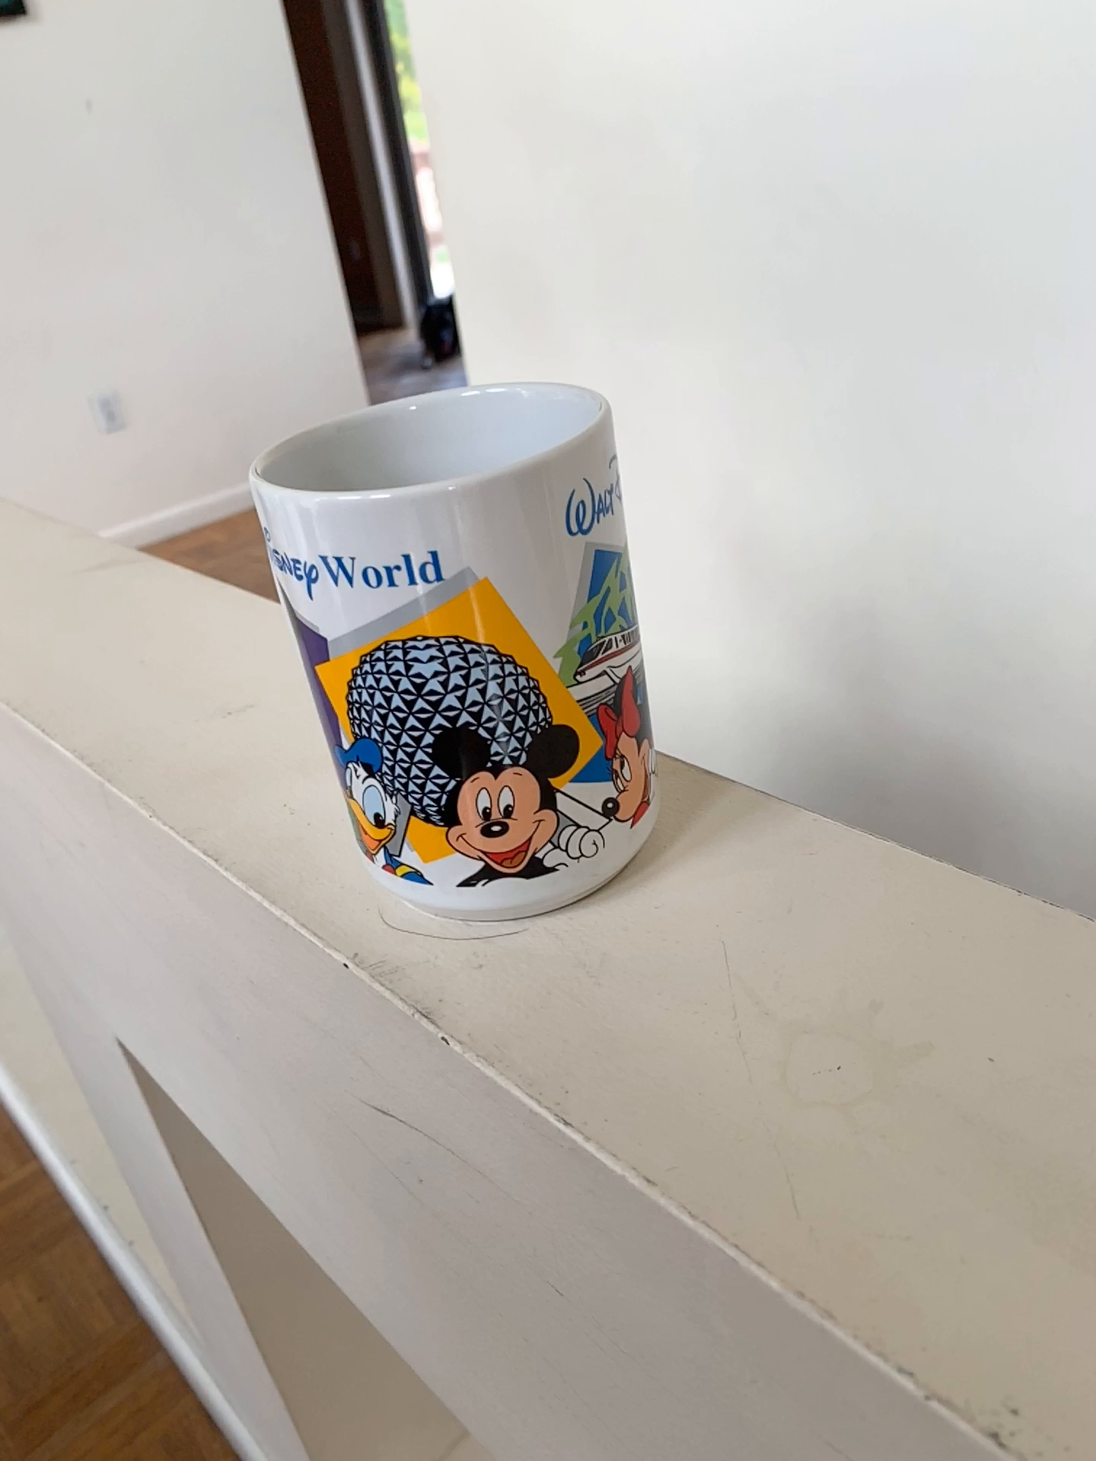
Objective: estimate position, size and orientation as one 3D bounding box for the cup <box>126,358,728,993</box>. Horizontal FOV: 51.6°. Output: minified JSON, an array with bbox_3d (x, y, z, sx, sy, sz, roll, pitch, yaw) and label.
[{"bbox_3d":[-0.034,-0.027,0.297,0.080,0.109,0.141,-25,32,-27],"label":"cup"}]
